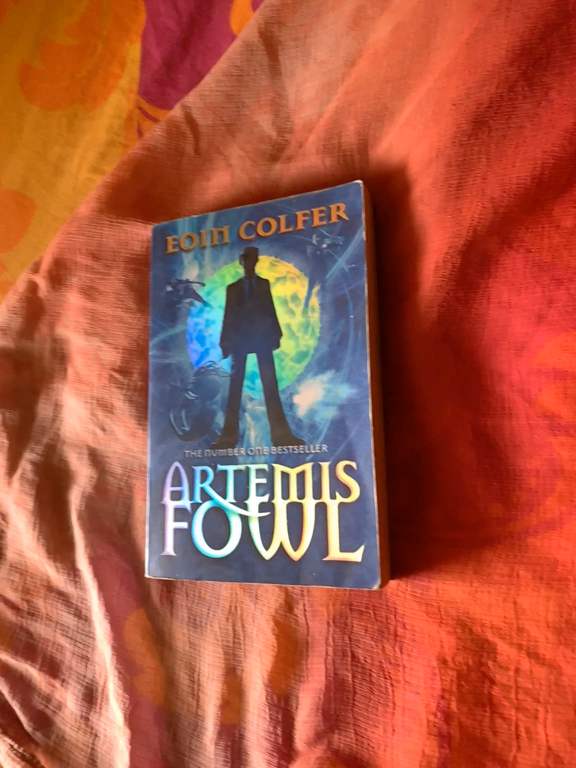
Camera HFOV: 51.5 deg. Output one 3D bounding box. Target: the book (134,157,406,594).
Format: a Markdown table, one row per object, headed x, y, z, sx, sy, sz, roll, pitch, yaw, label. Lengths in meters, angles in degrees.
| x | y | z | sx | sy | sz | roll | pitch | yaw | label |
| --- | --- | --- | --- | --- | --- | --- | --- | --- | --- |
| -0.014 | -0.002 | 0.298 | 0.130 | 0.030 | 0.190 | -5 | 83 | 24 | book |
